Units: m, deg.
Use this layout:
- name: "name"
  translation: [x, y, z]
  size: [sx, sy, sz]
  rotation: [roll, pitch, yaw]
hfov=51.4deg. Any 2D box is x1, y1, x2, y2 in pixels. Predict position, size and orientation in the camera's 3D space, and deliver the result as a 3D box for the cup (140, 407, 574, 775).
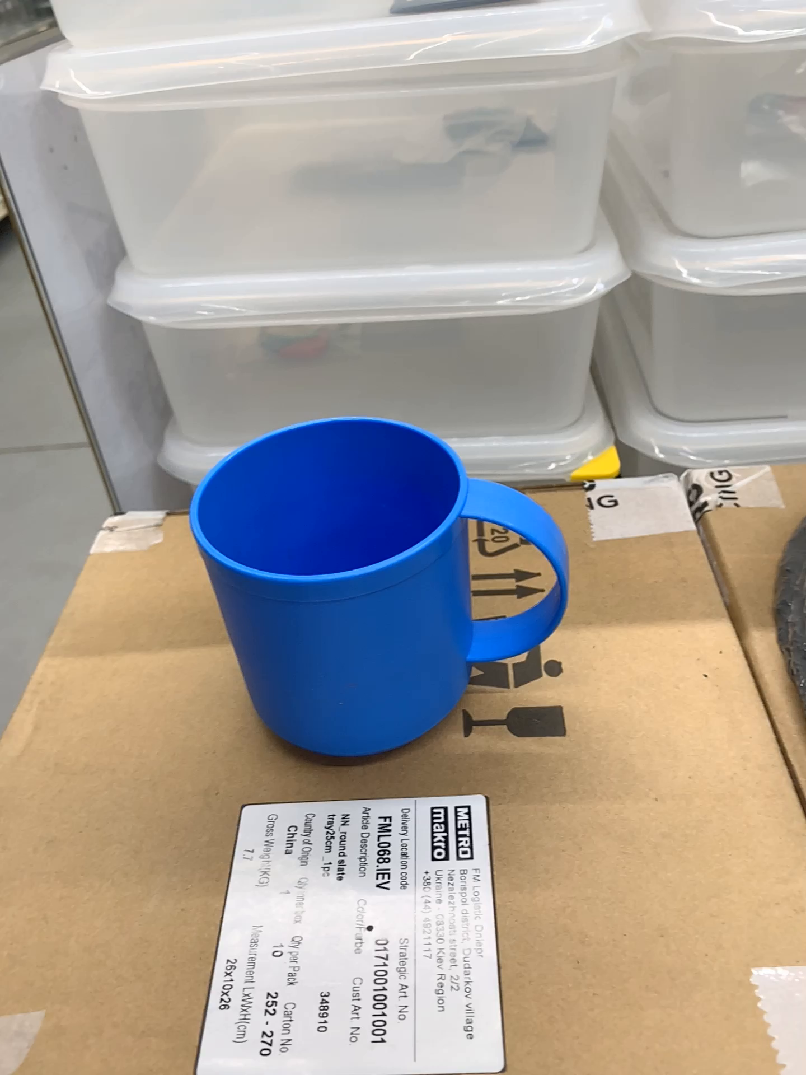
- name: "cup"
  translation: [-0.005, 0.014, 0.263]
  size: [0.109, 0.071, 0.089]
  rotation: [-1, 38, 8]
